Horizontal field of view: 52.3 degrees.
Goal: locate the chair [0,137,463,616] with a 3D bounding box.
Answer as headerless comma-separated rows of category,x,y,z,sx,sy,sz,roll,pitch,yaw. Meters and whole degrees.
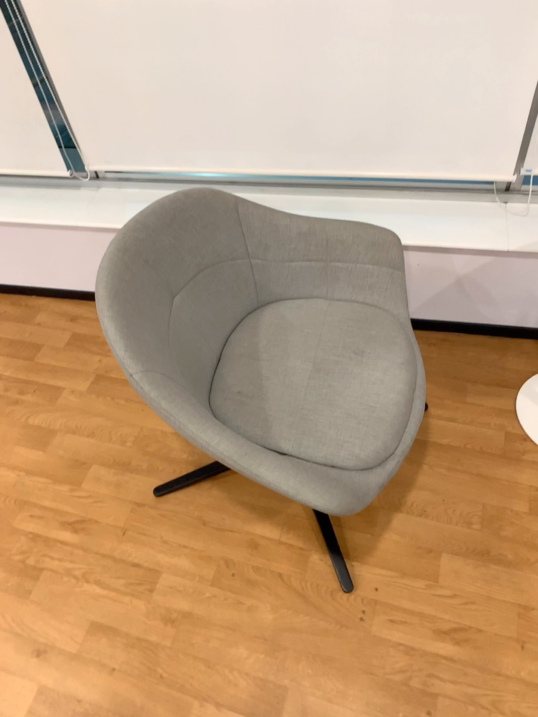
chair,-0.004,0.039,1.264,0.681,0.754,0.674,11,53,16
